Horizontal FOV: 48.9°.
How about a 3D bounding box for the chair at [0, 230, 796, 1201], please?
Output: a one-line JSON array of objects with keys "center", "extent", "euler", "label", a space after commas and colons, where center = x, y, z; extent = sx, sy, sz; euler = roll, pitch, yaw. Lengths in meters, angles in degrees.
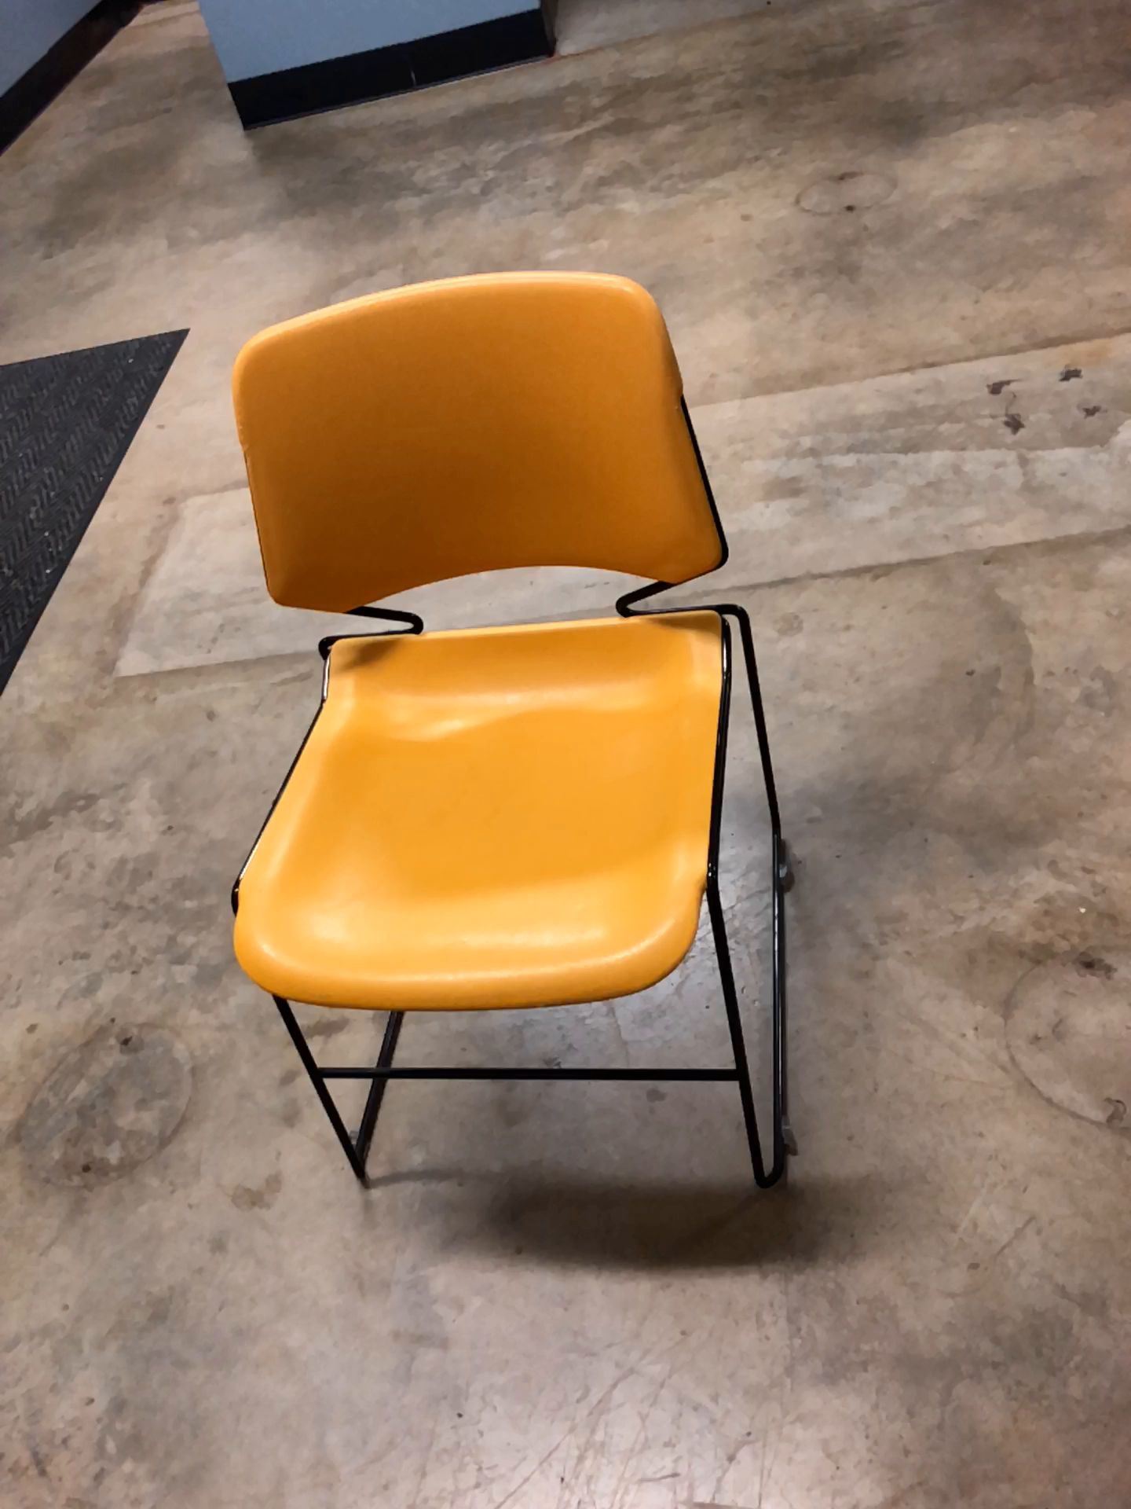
[{"center": [-0.073, 0.016, 1.261], "extent": [0.530, 0.796, 0.526], "euler": [-4, 45, 14], "label": "chair"}]
